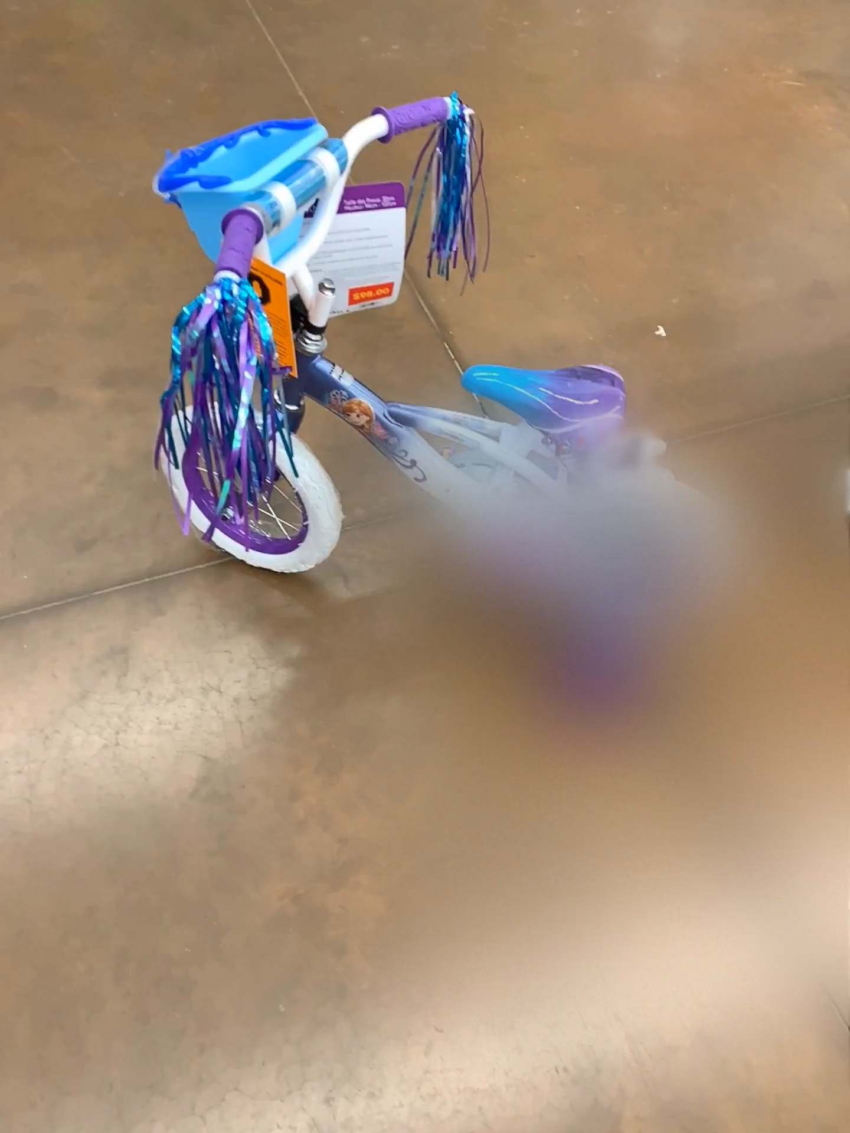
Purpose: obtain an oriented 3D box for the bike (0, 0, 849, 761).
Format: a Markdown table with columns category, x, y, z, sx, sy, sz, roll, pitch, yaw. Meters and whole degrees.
| category | x | y | z | sx | sy | sz | roll | pitch | yaw |
| --- | --- | --- | --- | --- | --- | --- | --- | --- | --- |
| bike | 0.037 | -0.184 | 1.025 | 0.804 | 0.633 | 0.441 | 12 | 54 | 1 |
